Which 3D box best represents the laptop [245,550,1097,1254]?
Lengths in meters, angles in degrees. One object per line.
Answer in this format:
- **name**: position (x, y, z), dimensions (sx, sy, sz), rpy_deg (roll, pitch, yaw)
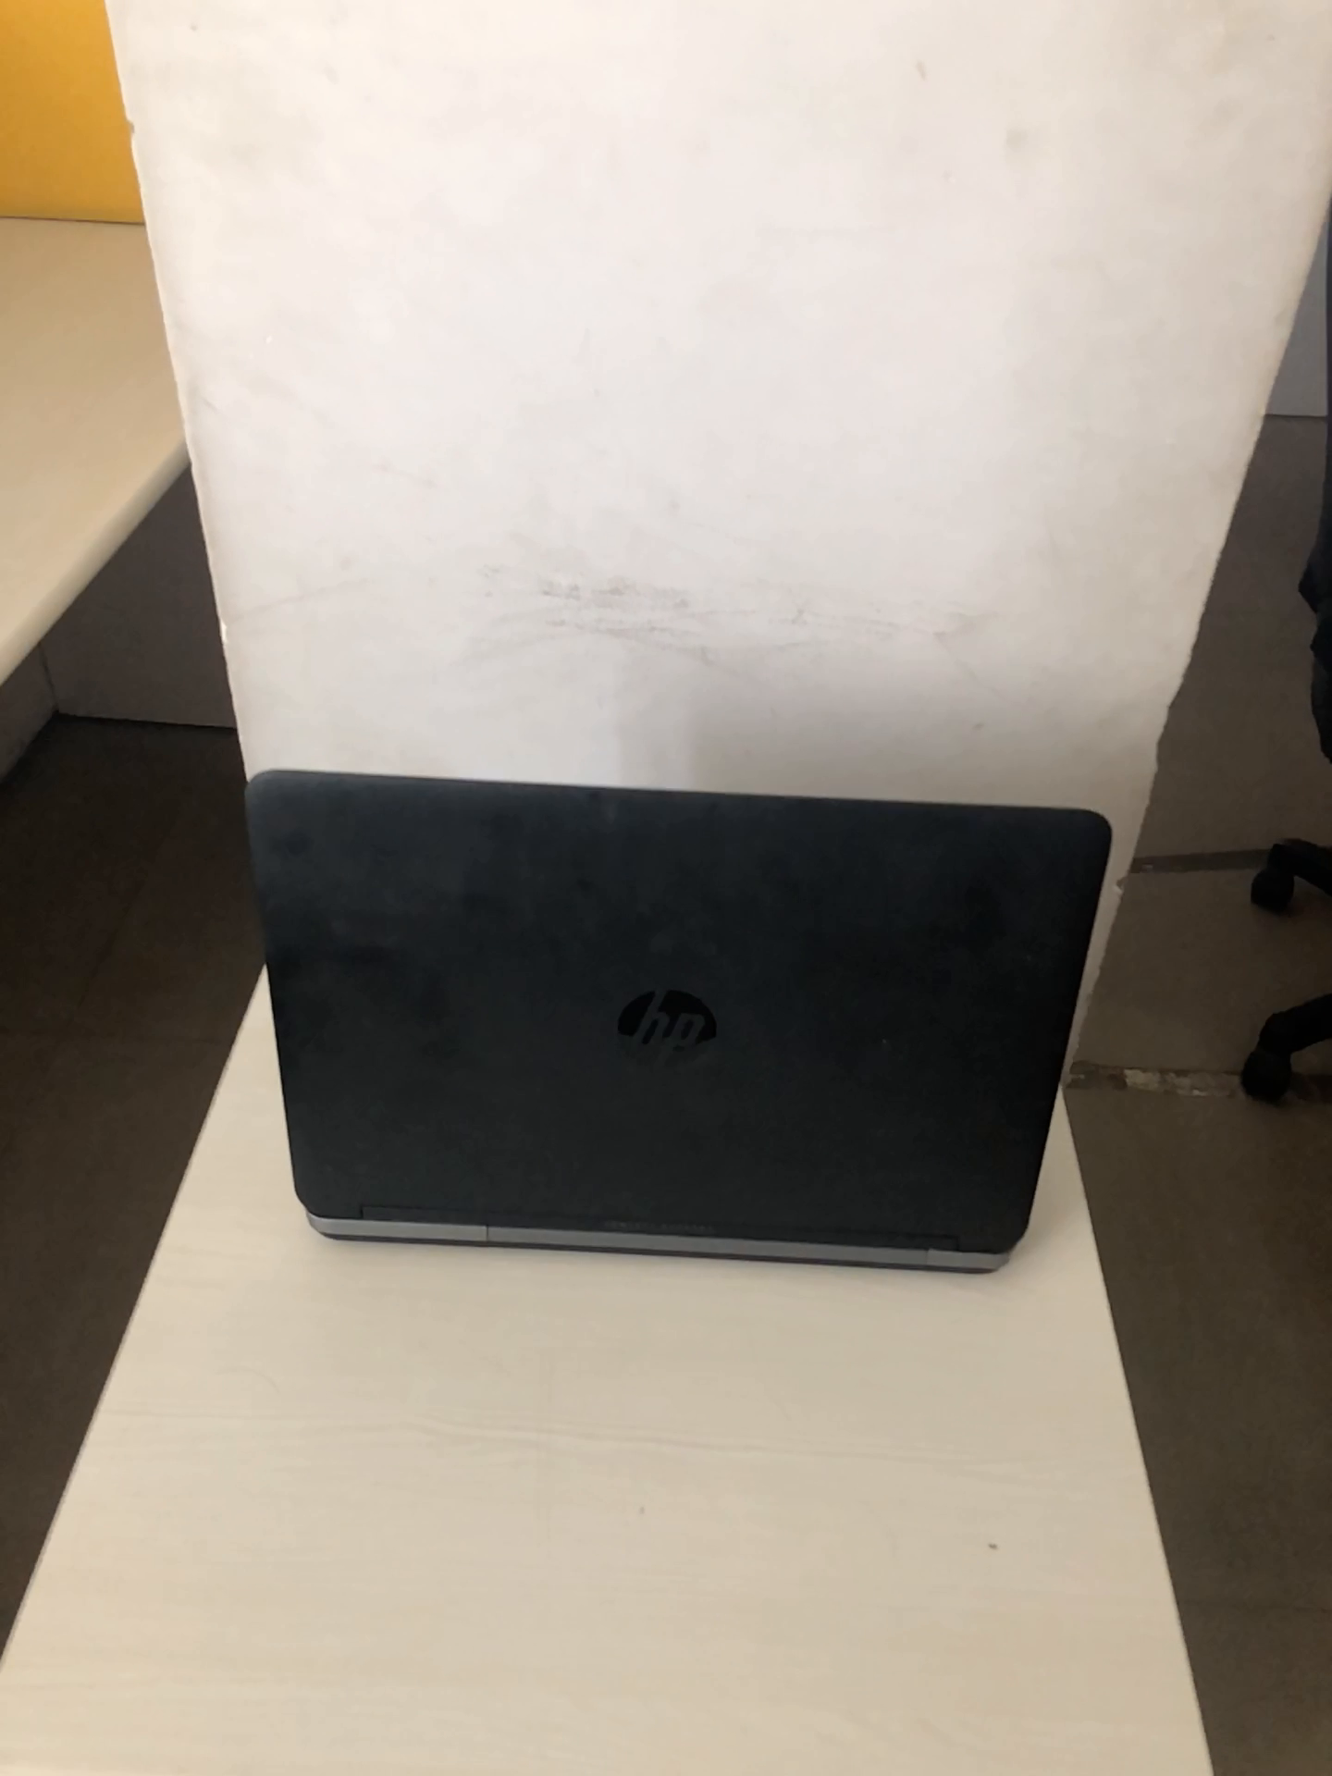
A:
- **laptop**: position (0.005, 0.005, 0.687), dimensions (0.317, 0.226, 0.205), rpy_deg (3, 41, 1)
